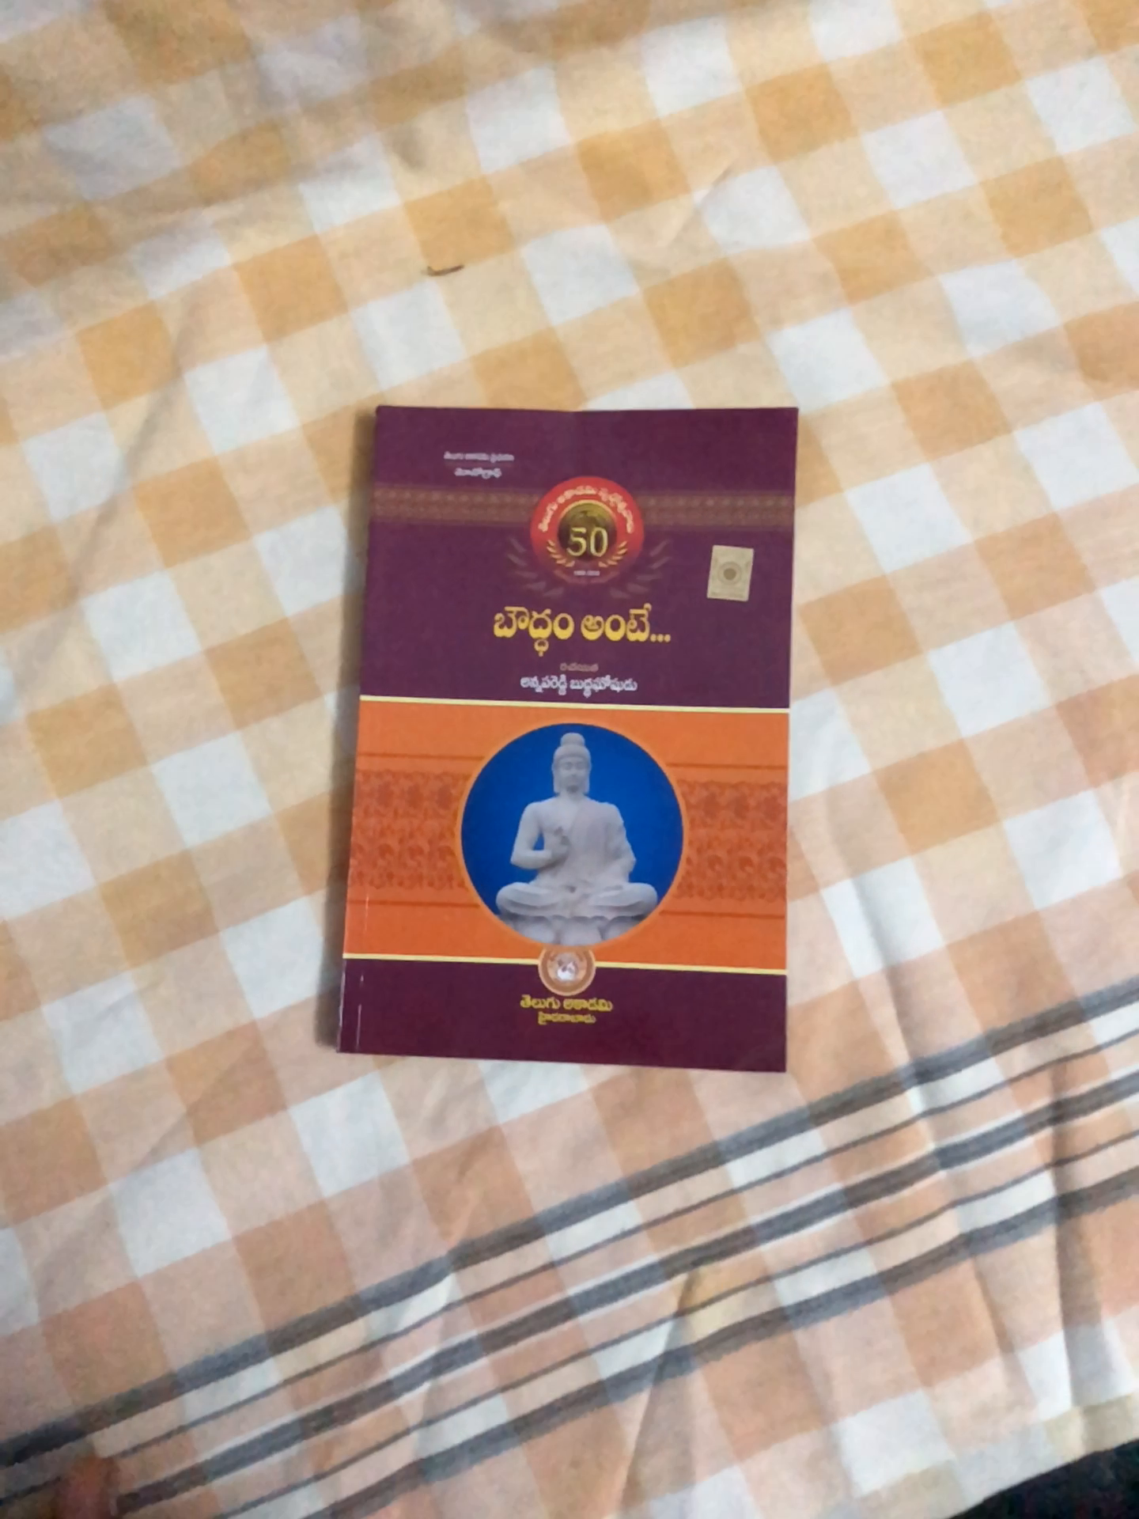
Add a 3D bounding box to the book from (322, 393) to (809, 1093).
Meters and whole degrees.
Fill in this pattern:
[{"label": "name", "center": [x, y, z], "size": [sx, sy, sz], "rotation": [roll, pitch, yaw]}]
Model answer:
[{"label": "book", "center": [0.002, -0.009, 0.449], "size": [0.160, 0.020, 0.240], "rotation": [2, 83, 0]}]
